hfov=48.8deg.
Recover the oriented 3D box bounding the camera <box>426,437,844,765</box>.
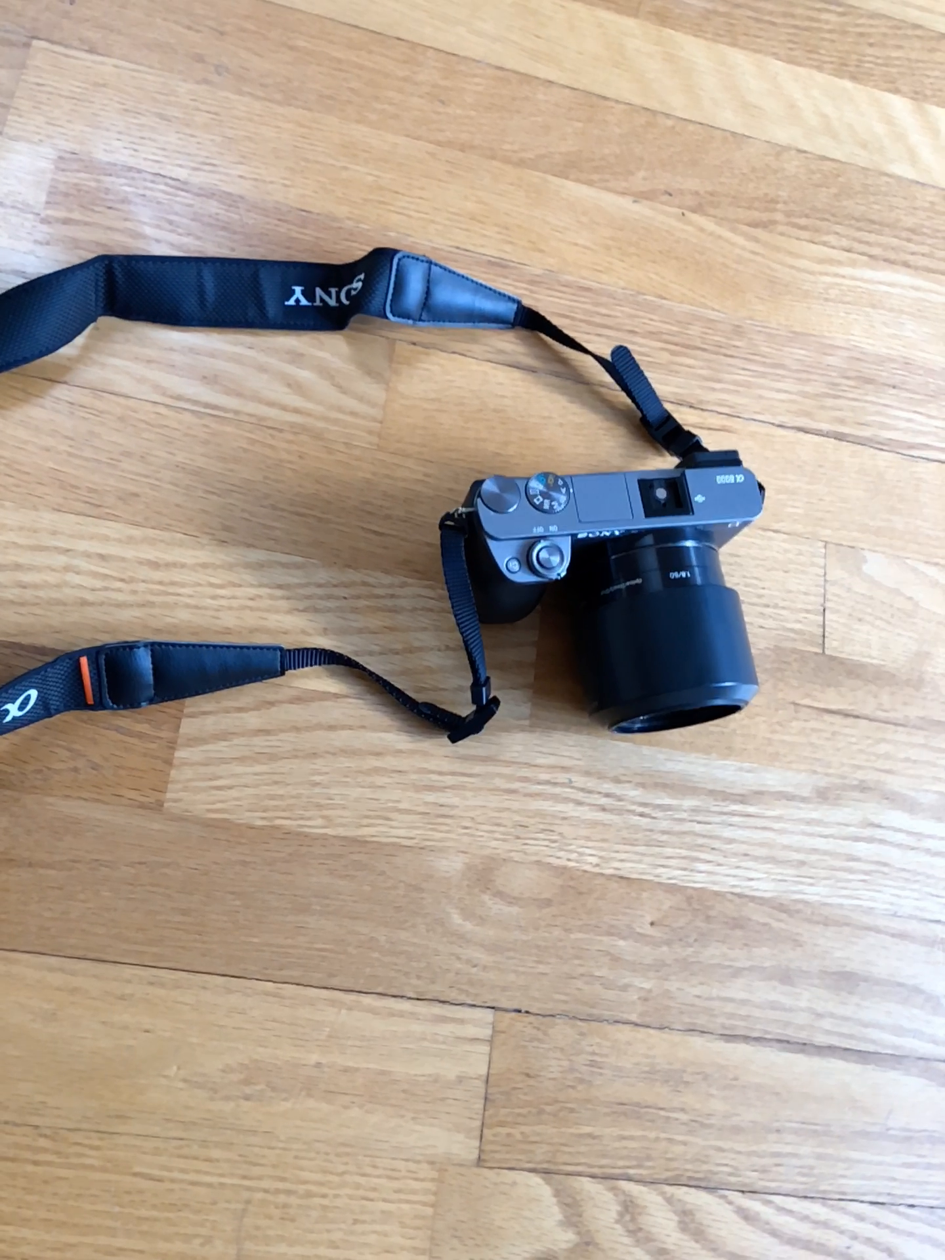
[{"bbox_3d":[0.062,-0.012,0.430,0.140,0.060,0.110,-6,76,-14],"label":"camera"}]
